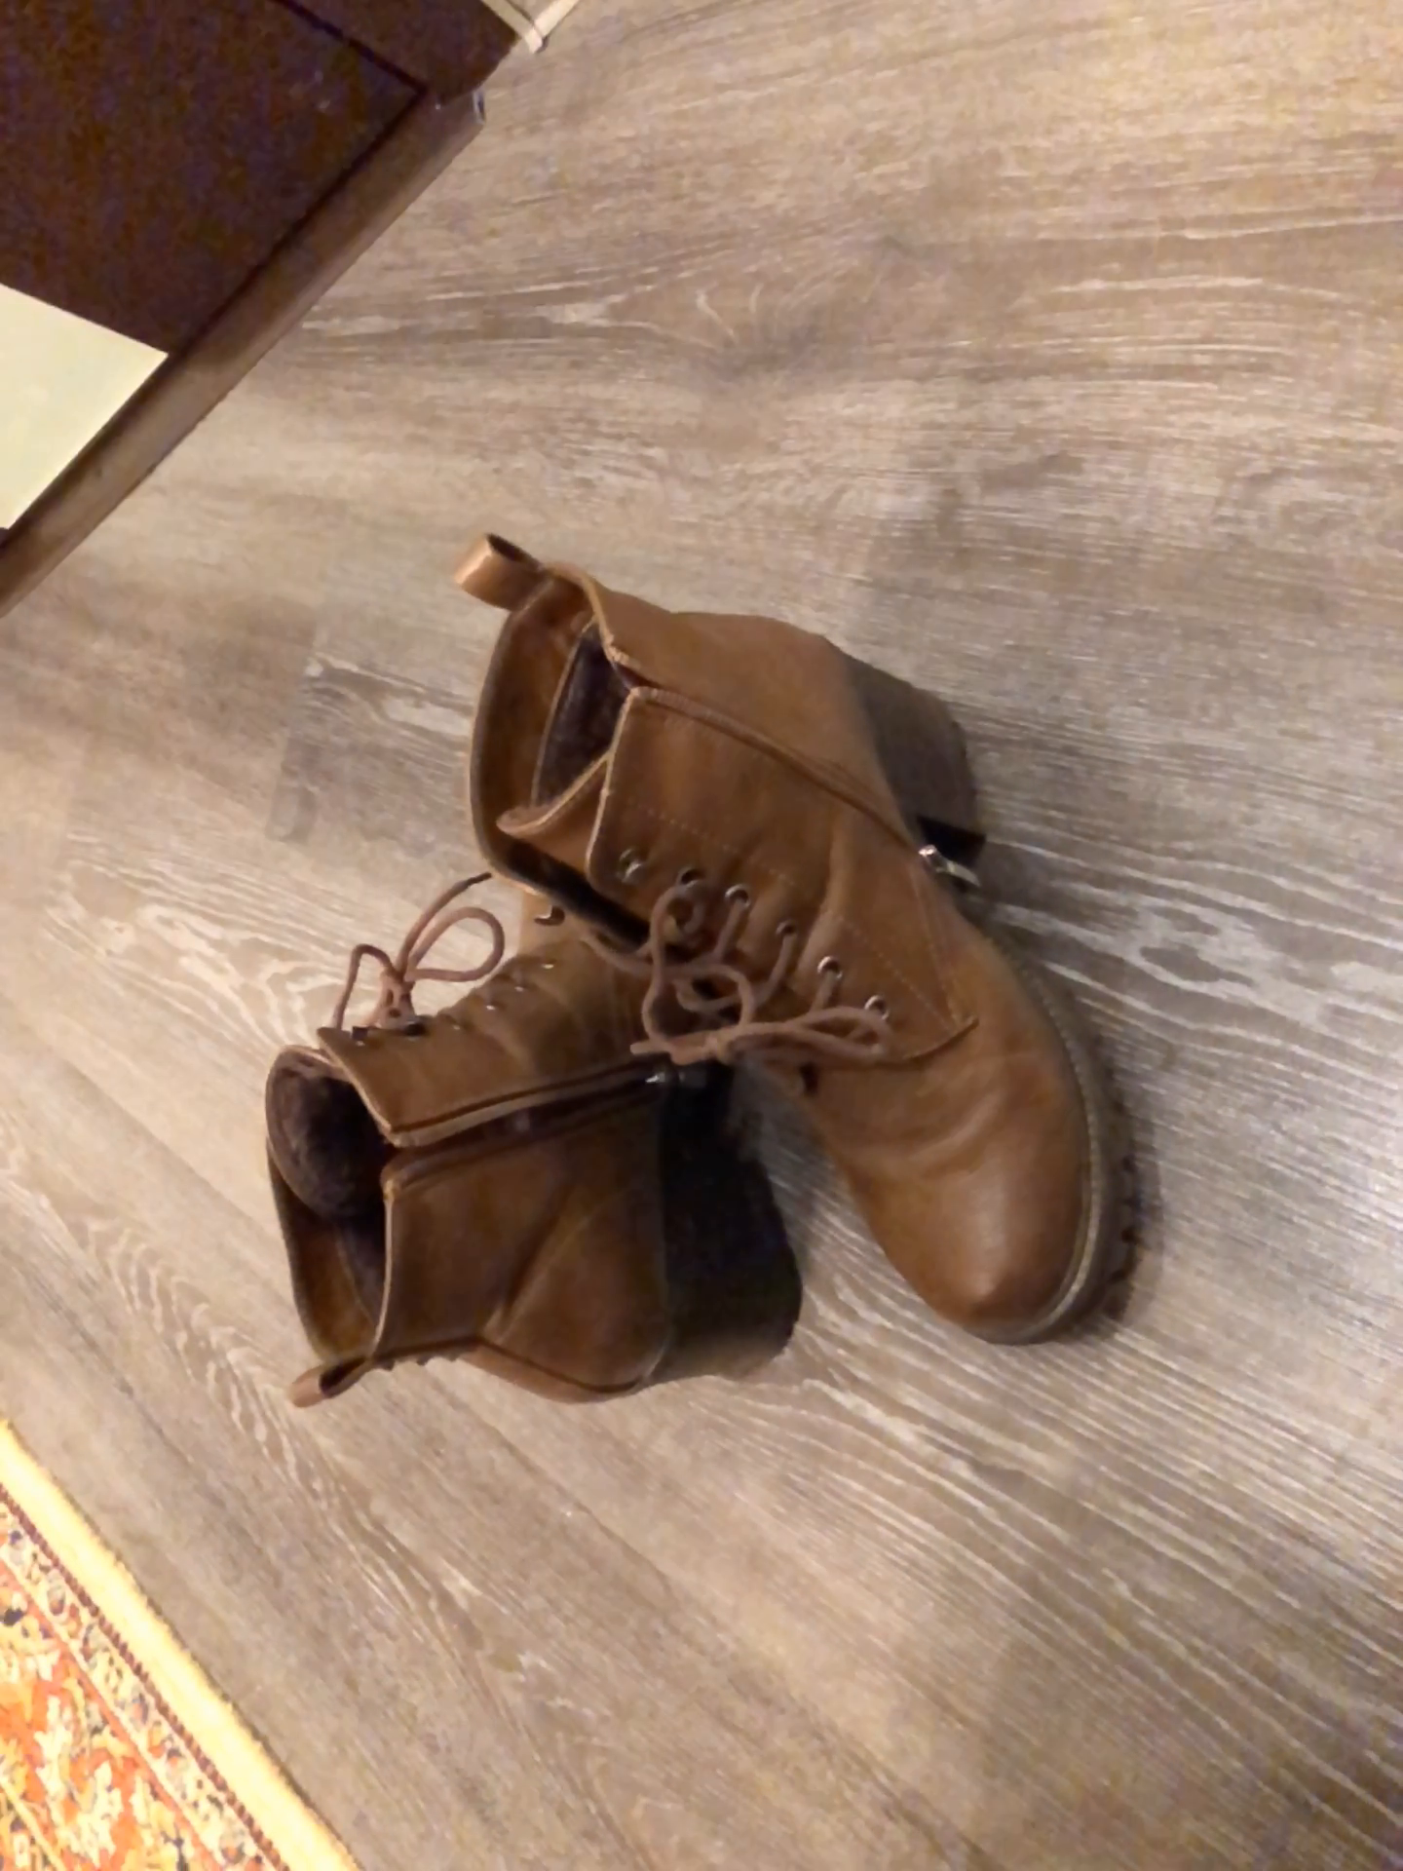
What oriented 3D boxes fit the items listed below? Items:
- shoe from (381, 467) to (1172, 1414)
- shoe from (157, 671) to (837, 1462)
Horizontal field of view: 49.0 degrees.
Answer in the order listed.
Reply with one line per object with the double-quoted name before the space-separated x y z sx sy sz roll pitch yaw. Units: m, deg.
"shoe" 0.022 0.011 0.449 0.090 0.189 0.220 -27 64 39
"shoe" -0.074 0.048 0.531 0.100 0.169 0.221 -34 60 36
